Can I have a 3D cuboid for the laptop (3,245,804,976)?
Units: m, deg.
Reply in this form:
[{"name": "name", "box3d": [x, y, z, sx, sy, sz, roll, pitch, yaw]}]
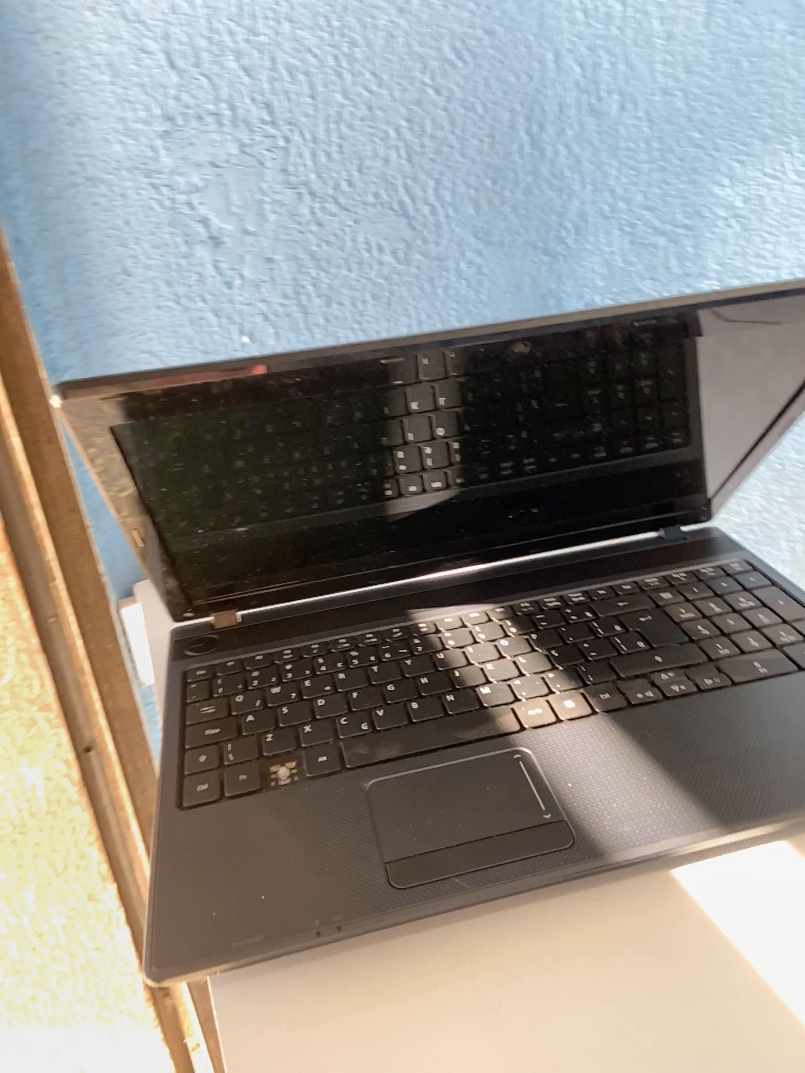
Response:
[{"name": "laptop", "box3d": [0.054, -0.008, 0.406, 0.376, 0.191, 0.249, -10, 26, -9]}]
